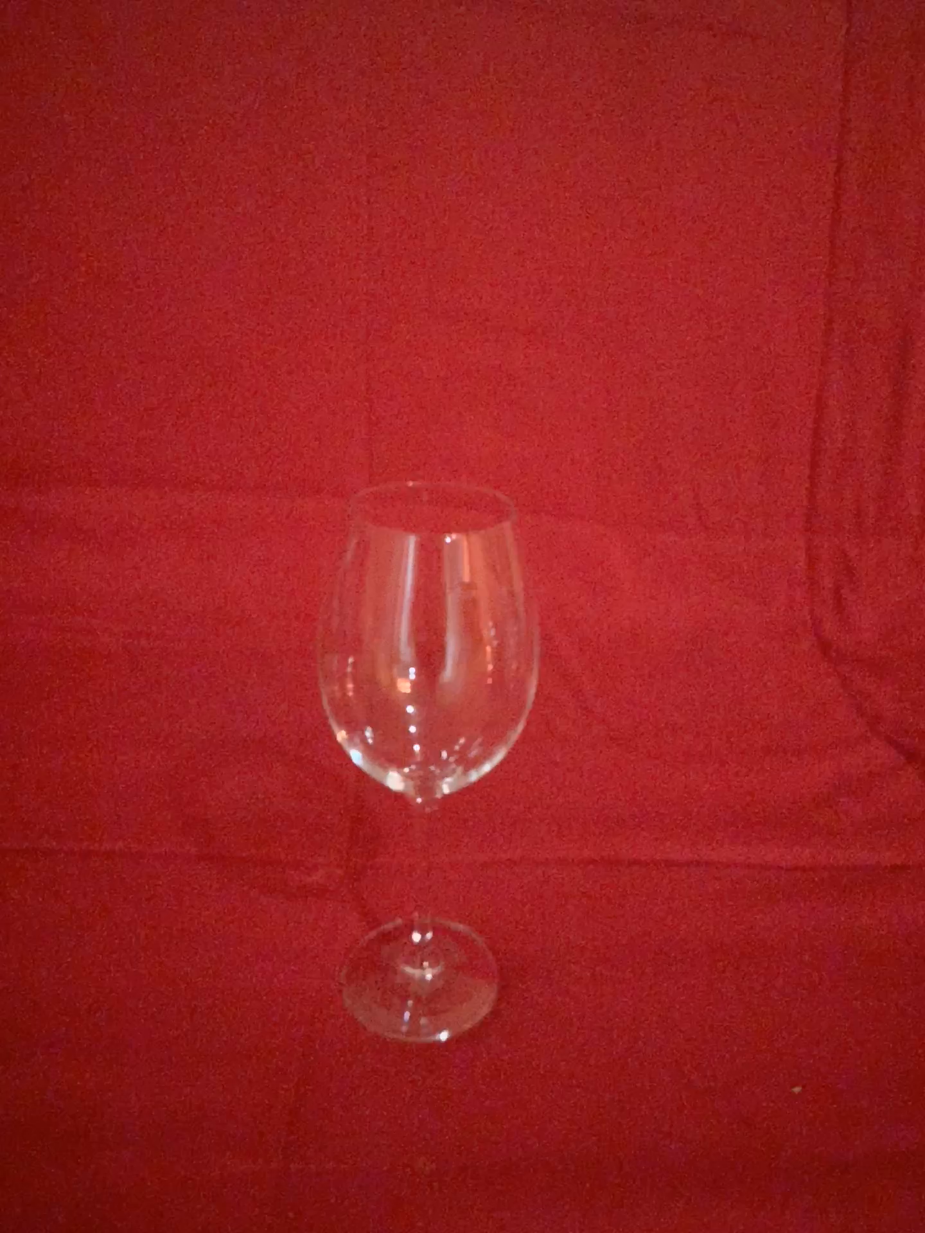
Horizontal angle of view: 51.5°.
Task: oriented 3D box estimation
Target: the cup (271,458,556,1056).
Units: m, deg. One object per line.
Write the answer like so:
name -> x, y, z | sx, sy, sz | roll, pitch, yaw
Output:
cup -> -0.019, 0.066, 0.409 | 0.094, 0.246, 0.084 | 2, 27, 0
